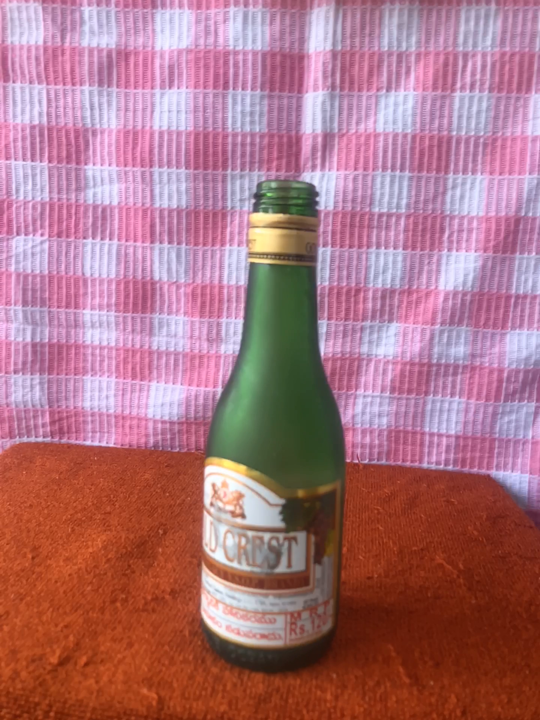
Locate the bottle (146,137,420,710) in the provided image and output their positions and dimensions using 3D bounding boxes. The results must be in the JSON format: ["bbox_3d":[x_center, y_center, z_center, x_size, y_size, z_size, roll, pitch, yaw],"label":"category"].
[{"bbox_3d":[0.001,0.017,0.211,0.060,0.170,0.060,4,11,-1],"label":"bottle"}]
